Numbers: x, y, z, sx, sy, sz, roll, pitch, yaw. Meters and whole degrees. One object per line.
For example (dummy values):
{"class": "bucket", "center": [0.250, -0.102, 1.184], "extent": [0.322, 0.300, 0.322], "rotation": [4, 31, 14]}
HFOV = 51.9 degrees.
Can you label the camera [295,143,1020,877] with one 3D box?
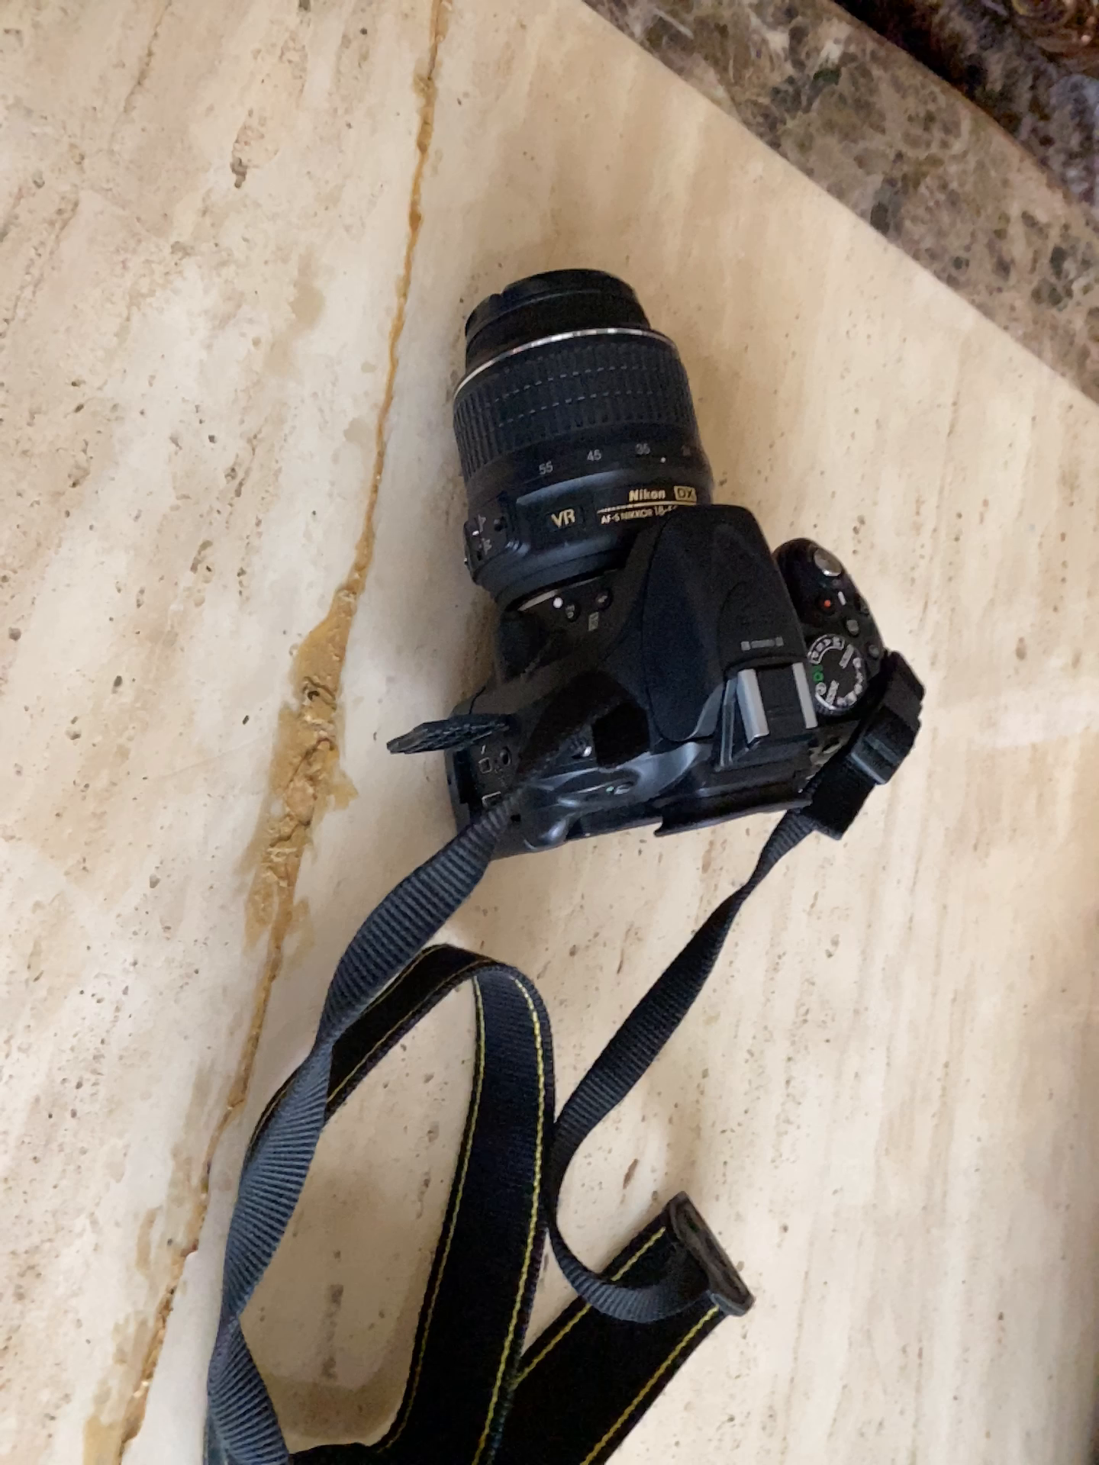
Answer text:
{"class": "camera", "center": [0.029, -0.054, 0.326], "extent": [0.152, 0.100, 0.159], "rotation": [-9, 86, -32]}
